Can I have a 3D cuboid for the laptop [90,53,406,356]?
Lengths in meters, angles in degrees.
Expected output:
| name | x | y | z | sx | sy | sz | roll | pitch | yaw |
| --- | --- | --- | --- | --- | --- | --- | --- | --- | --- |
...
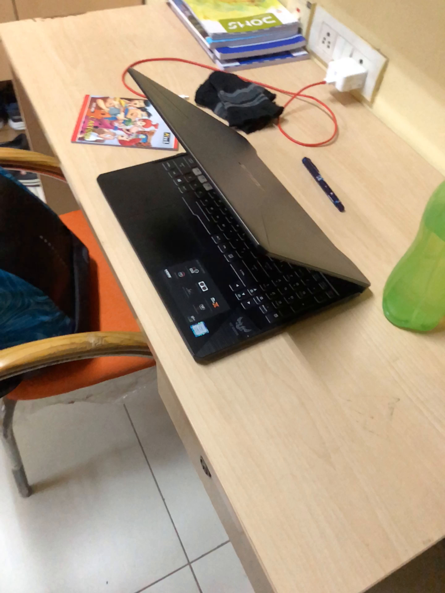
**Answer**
| name | x | y | z | sx | sy | sz | roll | pitch | yaw |
| --- | --- | --- | --- | --- | --- | --- | --- | --- | --- |
| laptop | 0.008 | -0.142 | 0.644 | 0.248 | 0.147 | 0.340 | -22 | 57 | -18 |
